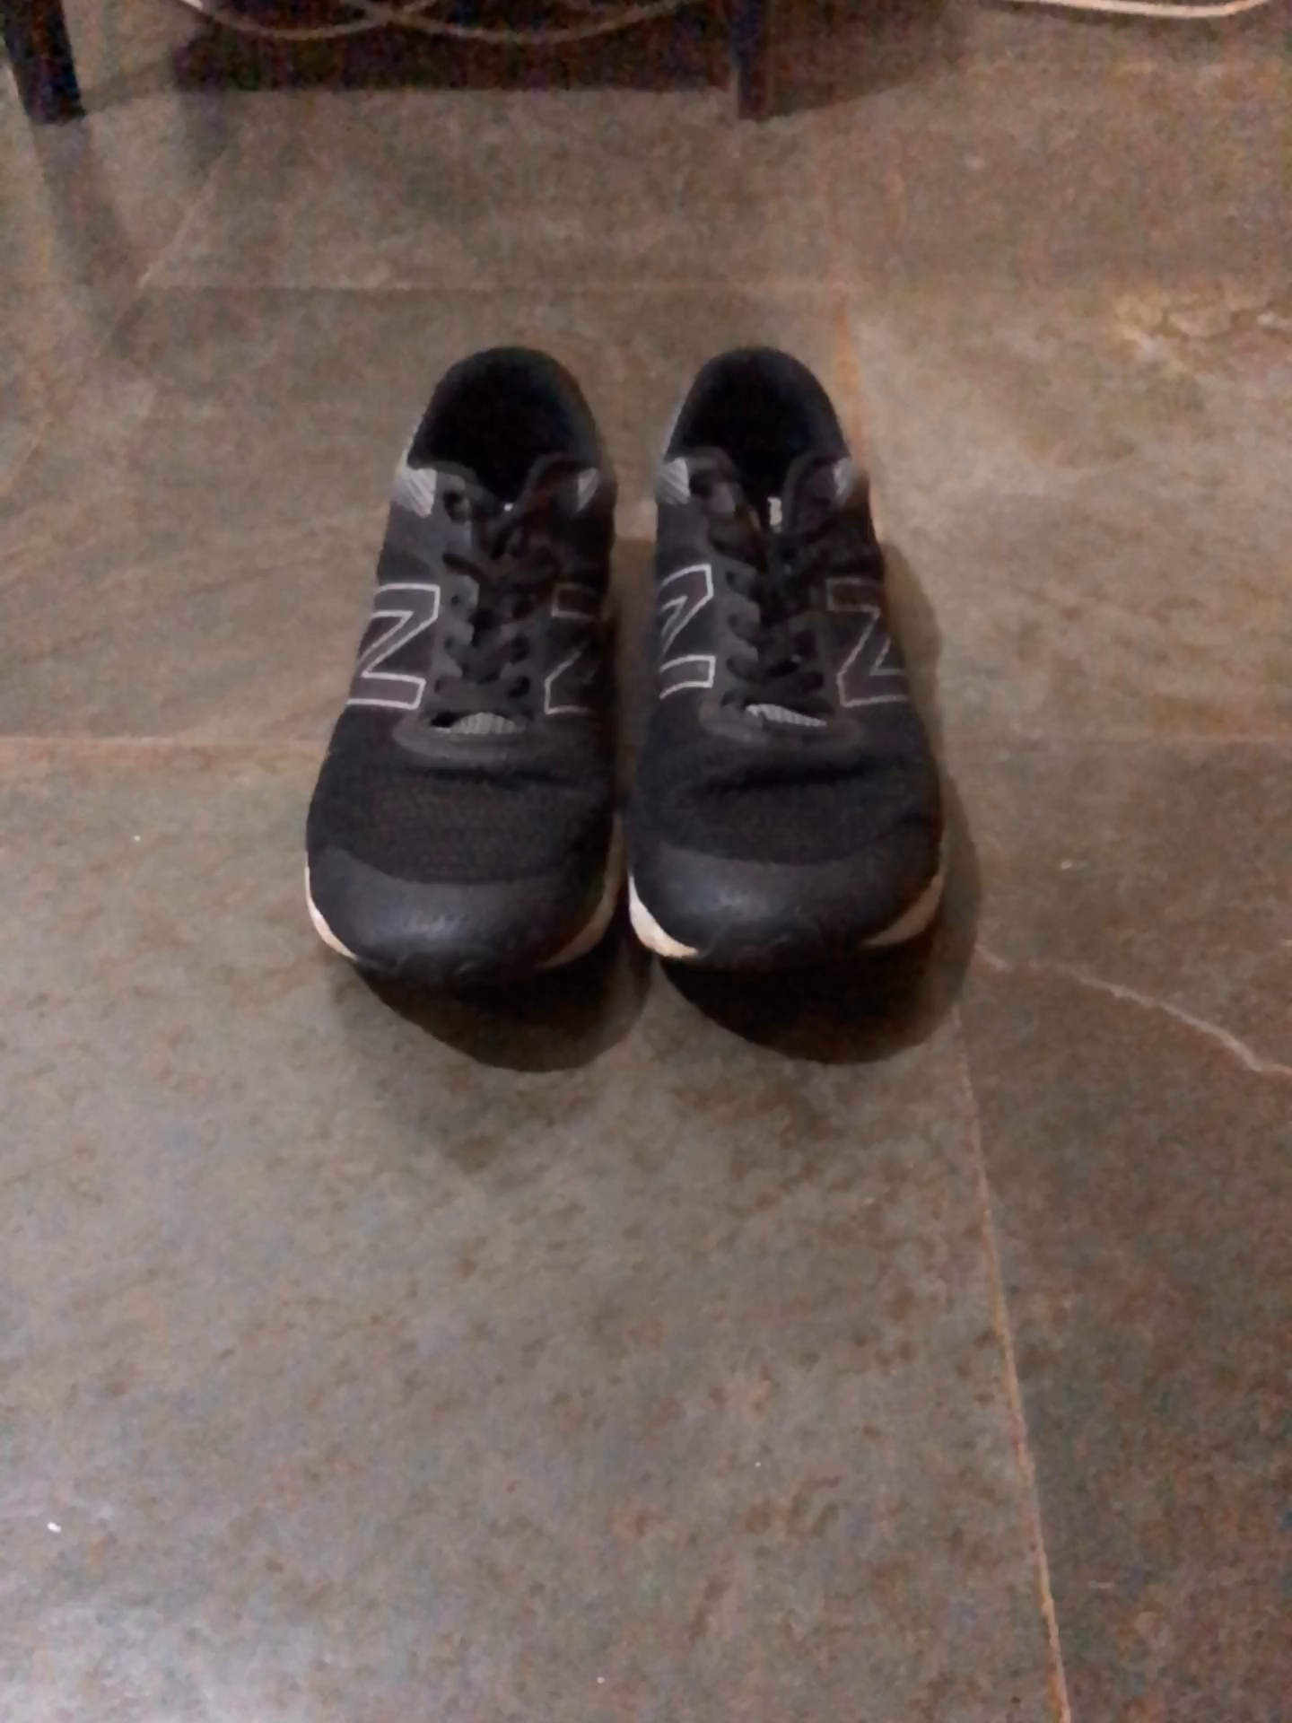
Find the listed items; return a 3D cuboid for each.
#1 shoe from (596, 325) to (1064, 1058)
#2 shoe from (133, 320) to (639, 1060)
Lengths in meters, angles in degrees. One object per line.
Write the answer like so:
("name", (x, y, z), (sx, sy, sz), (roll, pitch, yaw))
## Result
("shoe", (0.042, -0.072, 0.476), (0.110, 0.099, 0.262), (-2, 44, -1))
("shoe", (-0.067, -0.072, 0.472), (0.120, 0.099, 0.262), (-2, 44, -1))
